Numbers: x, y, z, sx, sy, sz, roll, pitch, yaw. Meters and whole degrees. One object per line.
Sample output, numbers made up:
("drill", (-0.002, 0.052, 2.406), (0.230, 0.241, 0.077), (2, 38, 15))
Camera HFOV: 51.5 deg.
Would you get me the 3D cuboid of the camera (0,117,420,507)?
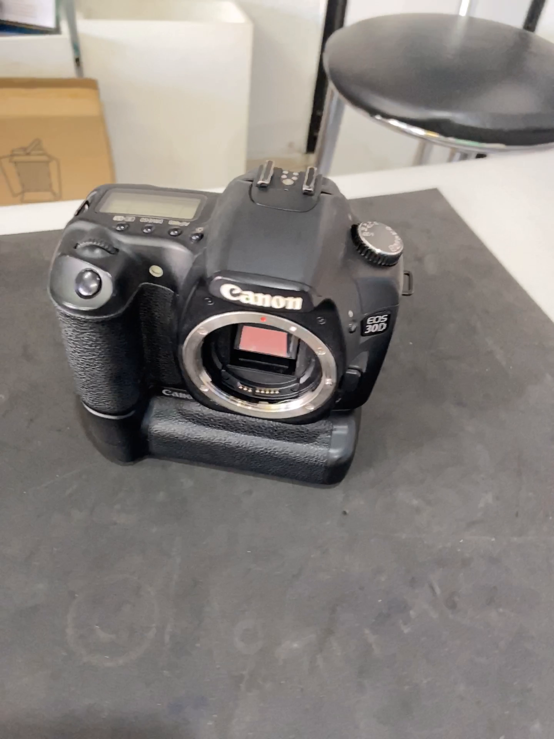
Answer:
("camera", (-0.022, -0.020, 0.264), (0.140, 0.139, 0.080), (10, 47, 3))
